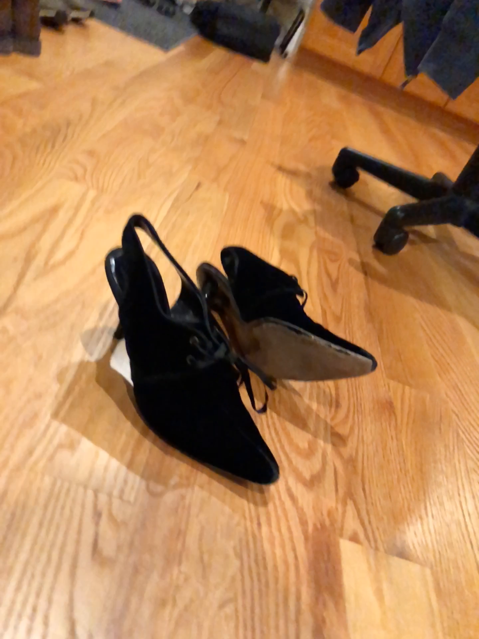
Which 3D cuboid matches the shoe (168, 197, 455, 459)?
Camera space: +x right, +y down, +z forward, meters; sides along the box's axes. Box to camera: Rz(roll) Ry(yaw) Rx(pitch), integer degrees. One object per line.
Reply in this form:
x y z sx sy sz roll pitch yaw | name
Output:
0.056 -0.010 0.524 0.118 0.106 0.253 -10 45 -41 | shoe

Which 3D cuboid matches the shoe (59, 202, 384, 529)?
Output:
-0.031 0.017 0.443 0.108 0.117 0.253 -14 48 -46 | shoe
